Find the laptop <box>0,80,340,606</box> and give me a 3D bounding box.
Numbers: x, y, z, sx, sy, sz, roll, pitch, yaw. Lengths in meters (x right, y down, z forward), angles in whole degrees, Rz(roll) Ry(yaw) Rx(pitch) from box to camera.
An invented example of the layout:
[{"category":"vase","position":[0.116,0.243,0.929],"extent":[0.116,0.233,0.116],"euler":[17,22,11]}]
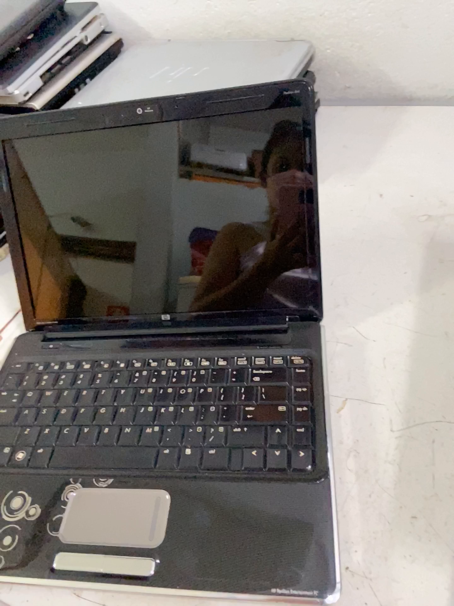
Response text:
[{"category":"laptop","position":[-0.087,0.005,0.391],"extent":[0.330,0.176,0.374],"euler":[-3,47,12]}]
